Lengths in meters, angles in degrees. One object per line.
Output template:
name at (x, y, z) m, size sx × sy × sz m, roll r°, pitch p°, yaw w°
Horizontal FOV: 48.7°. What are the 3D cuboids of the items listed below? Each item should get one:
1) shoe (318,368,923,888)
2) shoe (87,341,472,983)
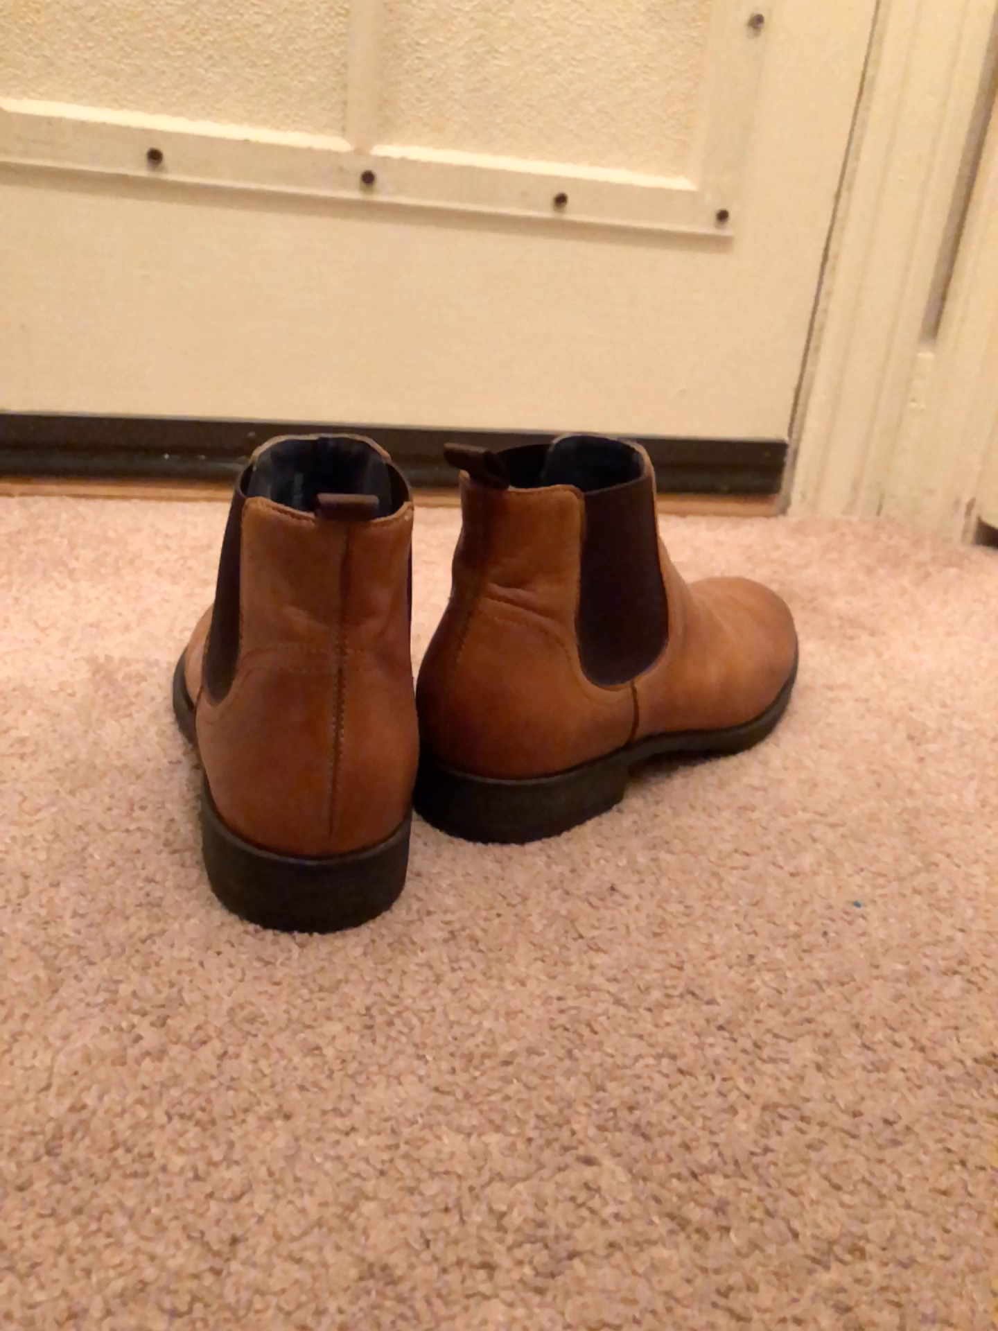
shoe at (0.072, -0.045, 0.538) m, size 0.109 × 0.165 × 0.313 m, roll 24°, pitch 29°, yaw 36°
shoe at (-0.100, -0.032, 0.491) m, size 0.109 × 0.165 × 0.313 m, roll 1°, pitch 24°, yaw -13°
